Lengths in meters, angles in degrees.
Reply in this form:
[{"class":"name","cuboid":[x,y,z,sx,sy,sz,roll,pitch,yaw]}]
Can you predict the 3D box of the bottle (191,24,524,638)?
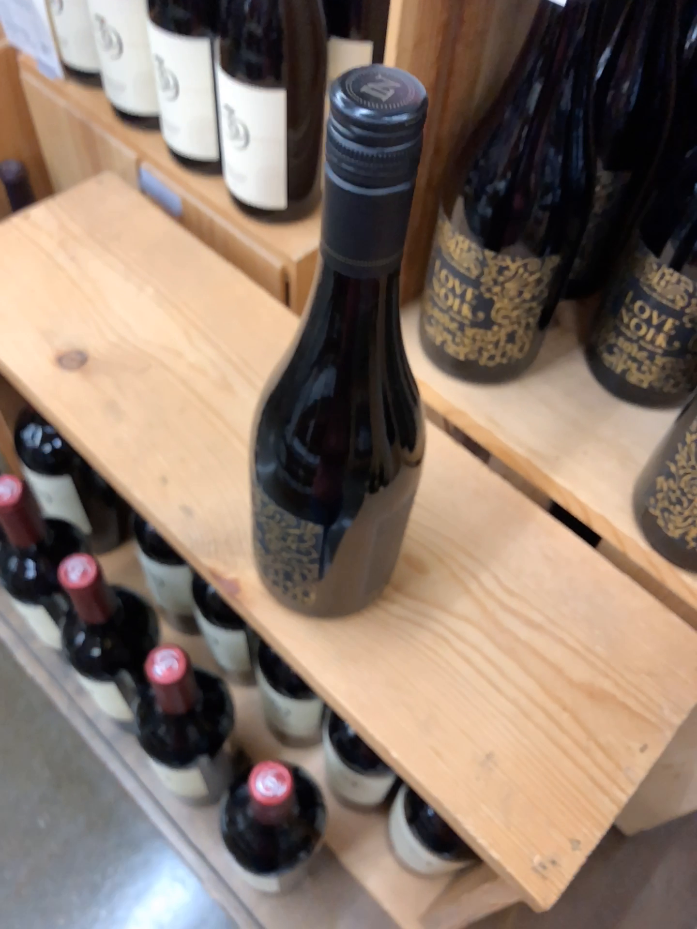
[{"class":"bottle","cuboid":[-0.009,-0.022,0.342,0.085,0.285,0.090,2,56,-3]}]
